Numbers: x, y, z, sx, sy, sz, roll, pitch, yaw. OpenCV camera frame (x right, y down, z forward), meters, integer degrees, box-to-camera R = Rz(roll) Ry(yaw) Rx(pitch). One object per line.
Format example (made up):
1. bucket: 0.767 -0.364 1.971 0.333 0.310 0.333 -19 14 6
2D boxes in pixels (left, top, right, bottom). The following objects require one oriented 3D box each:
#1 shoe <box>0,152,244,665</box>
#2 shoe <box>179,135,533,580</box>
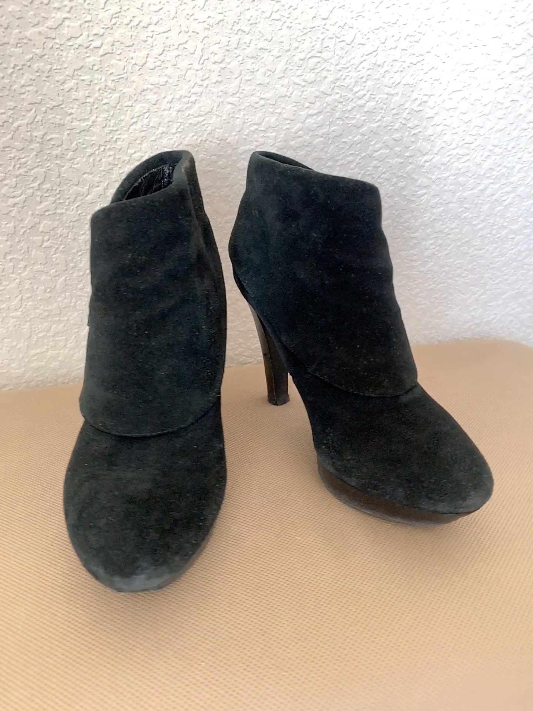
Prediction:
1. shoe: -0.064 0.000 0.282 0.090 0.166 0.218 2 28 1
2. shoe: 0.043 -0.025 0.317 0.090 0.166 0.218 -16 33 -30
